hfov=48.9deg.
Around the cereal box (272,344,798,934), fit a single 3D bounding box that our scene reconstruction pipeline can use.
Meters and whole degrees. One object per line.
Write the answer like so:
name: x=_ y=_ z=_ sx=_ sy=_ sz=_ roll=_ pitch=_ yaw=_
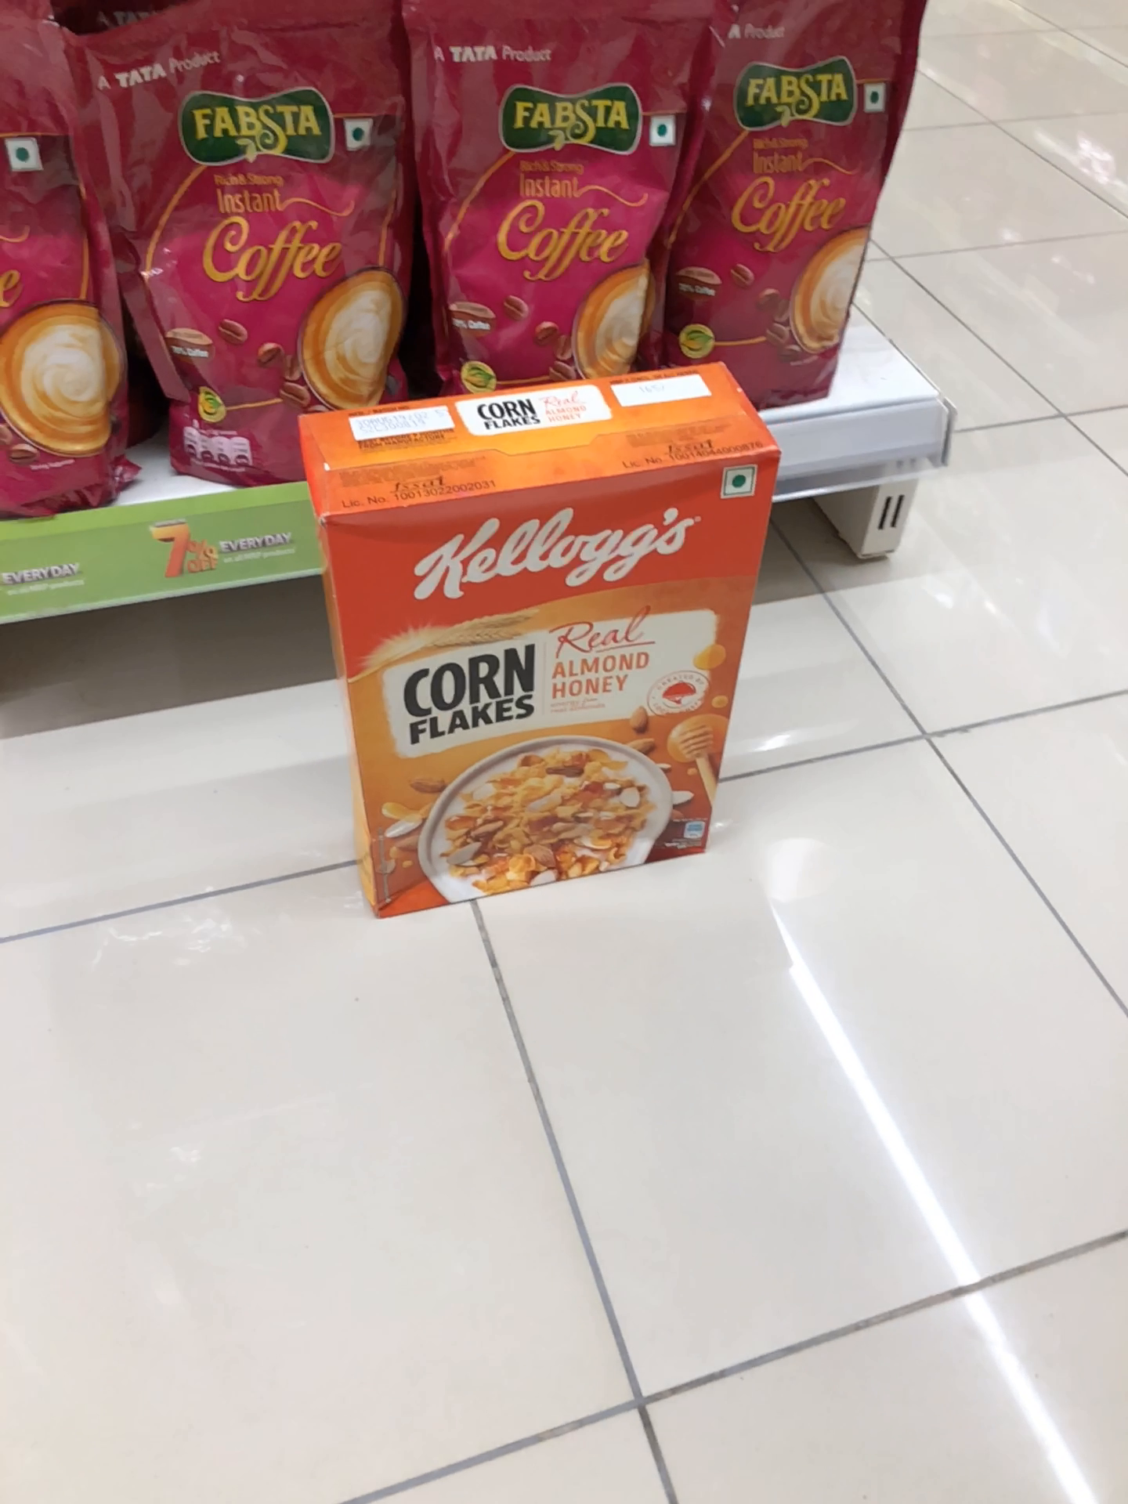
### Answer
cereal box: x=-0.016 y=-0.043 z=0.598 sx=0.200 sy=0.268 sz=0.080 roll=-9 pitch=47 yaw=-11
